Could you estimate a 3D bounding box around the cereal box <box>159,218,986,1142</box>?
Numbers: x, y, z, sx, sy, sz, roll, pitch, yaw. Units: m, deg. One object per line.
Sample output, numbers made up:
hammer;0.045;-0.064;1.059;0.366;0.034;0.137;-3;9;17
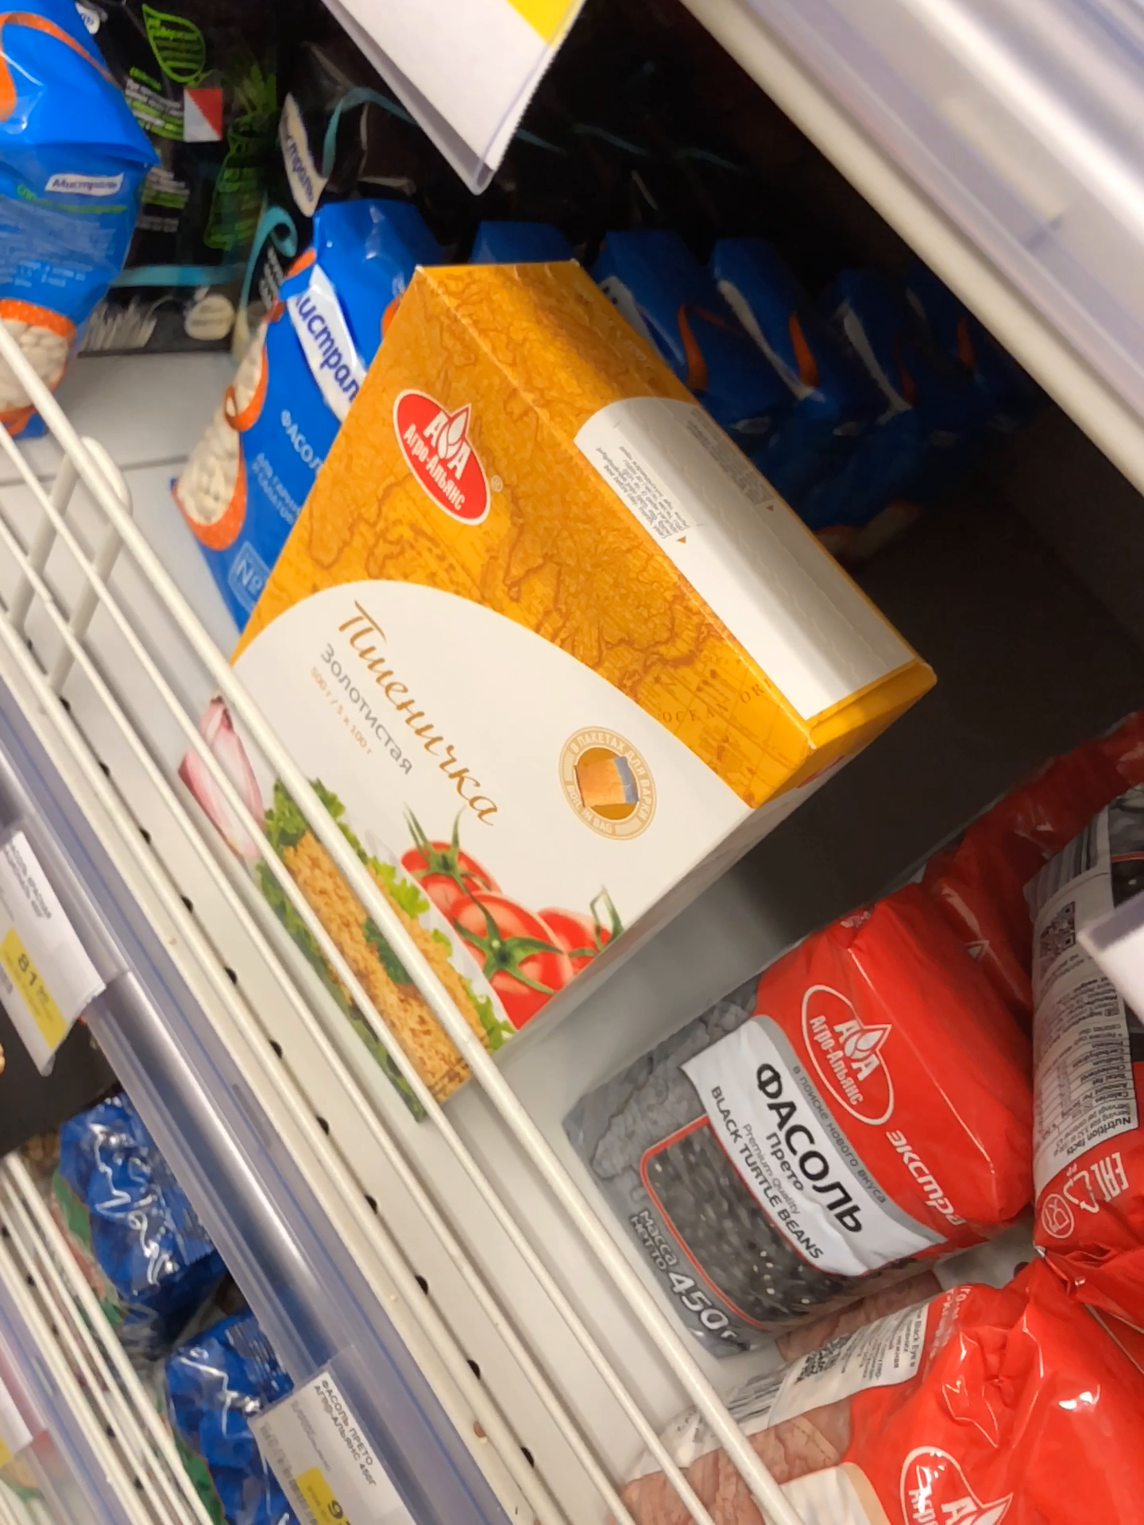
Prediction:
cereal box;-0.020;-0.010;0.334;0.060;0.199;0.140;-26;72;-44
